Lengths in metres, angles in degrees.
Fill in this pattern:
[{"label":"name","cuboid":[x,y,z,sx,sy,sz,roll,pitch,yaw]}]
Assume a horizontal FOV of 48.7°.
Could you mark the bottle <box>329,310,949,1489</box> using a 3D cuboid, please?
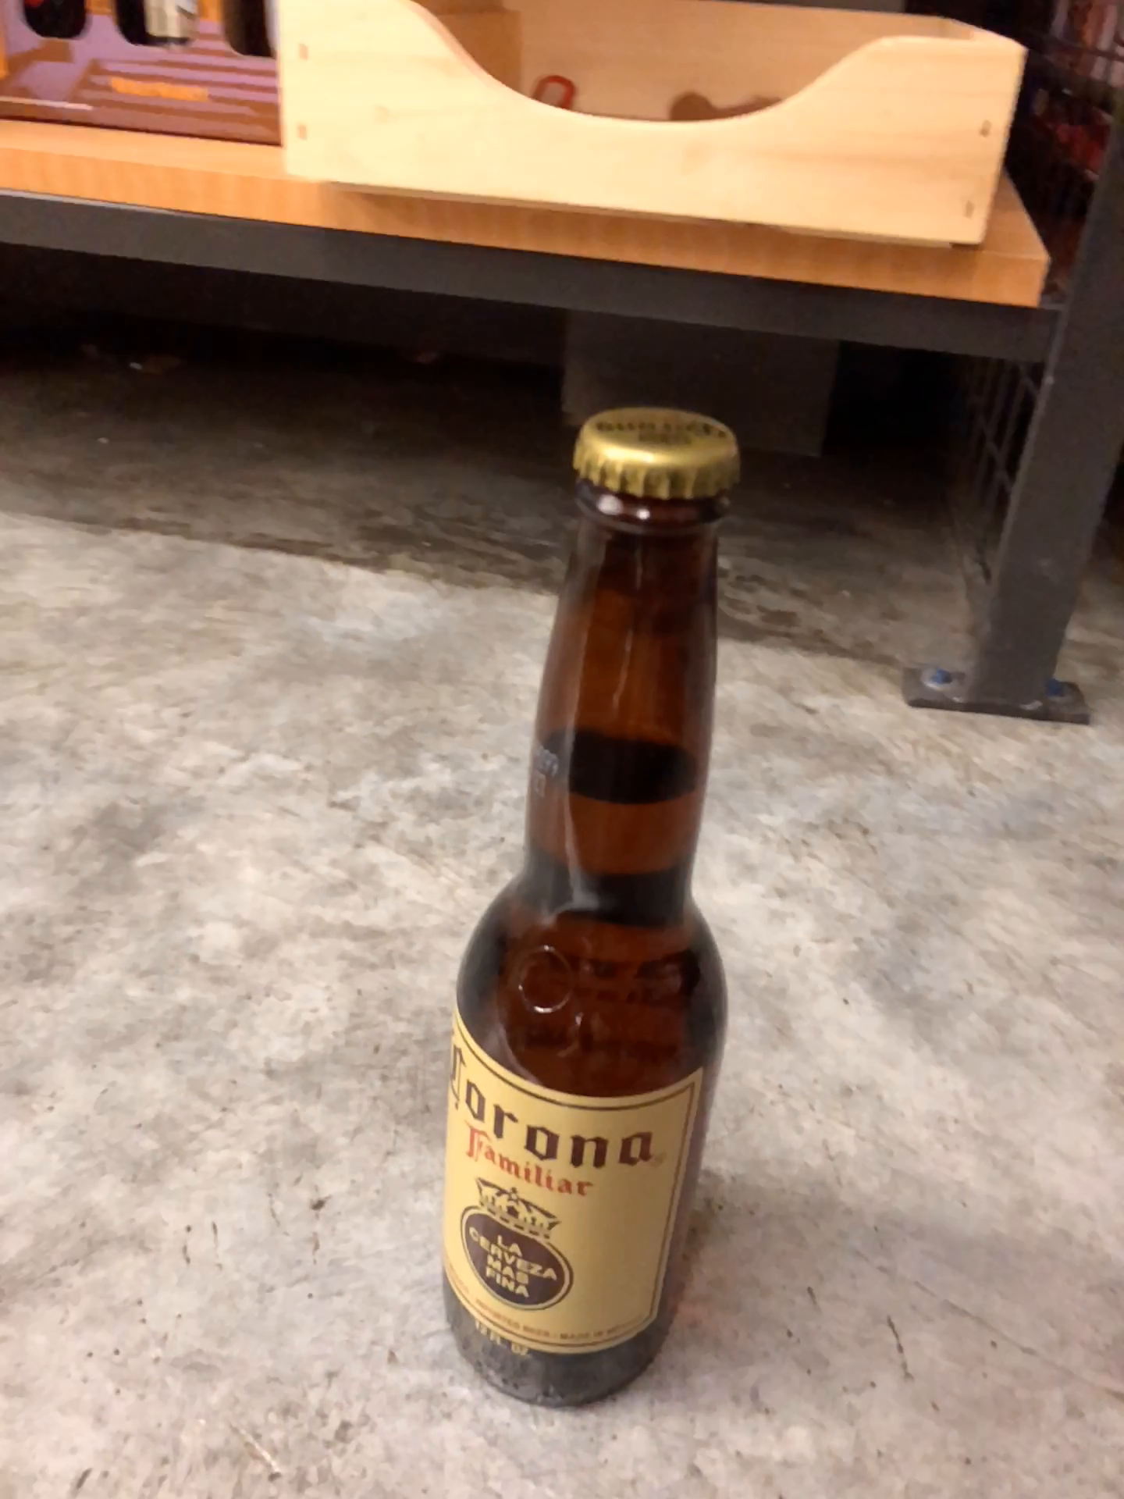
[{"label":"bottle","cuboid":[0.008,0.038,0.244,0.070,0.216,0.070,3,32,-2]}]
